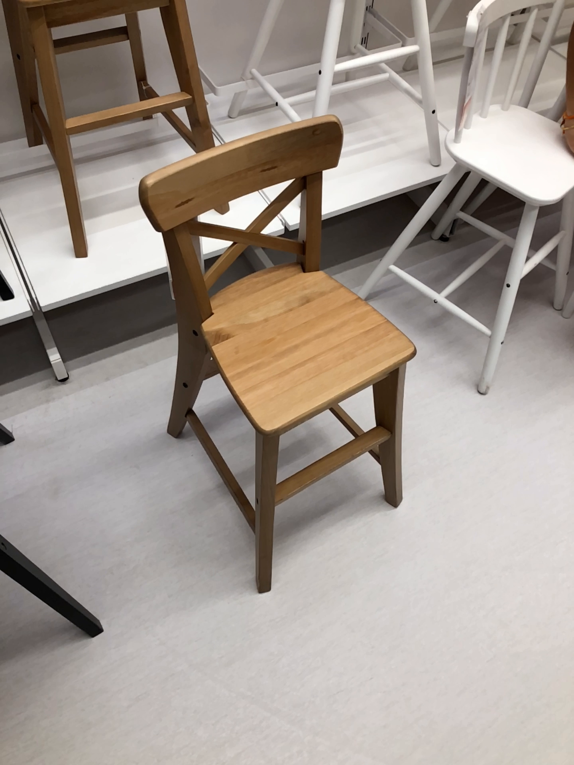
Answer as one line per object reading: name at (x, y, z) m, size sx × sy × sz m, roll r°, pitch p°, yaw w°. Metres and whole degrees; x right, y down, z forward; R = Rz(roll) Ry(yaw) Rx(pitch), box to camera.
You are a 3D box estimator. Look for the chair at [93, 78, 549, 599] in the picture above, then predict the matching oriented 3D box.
chair at (0.015, -0.030, 1.053) m, size 0.391 × 0.676 × 0.431 m, roll -26°, pitch 60°, yaw -20°
